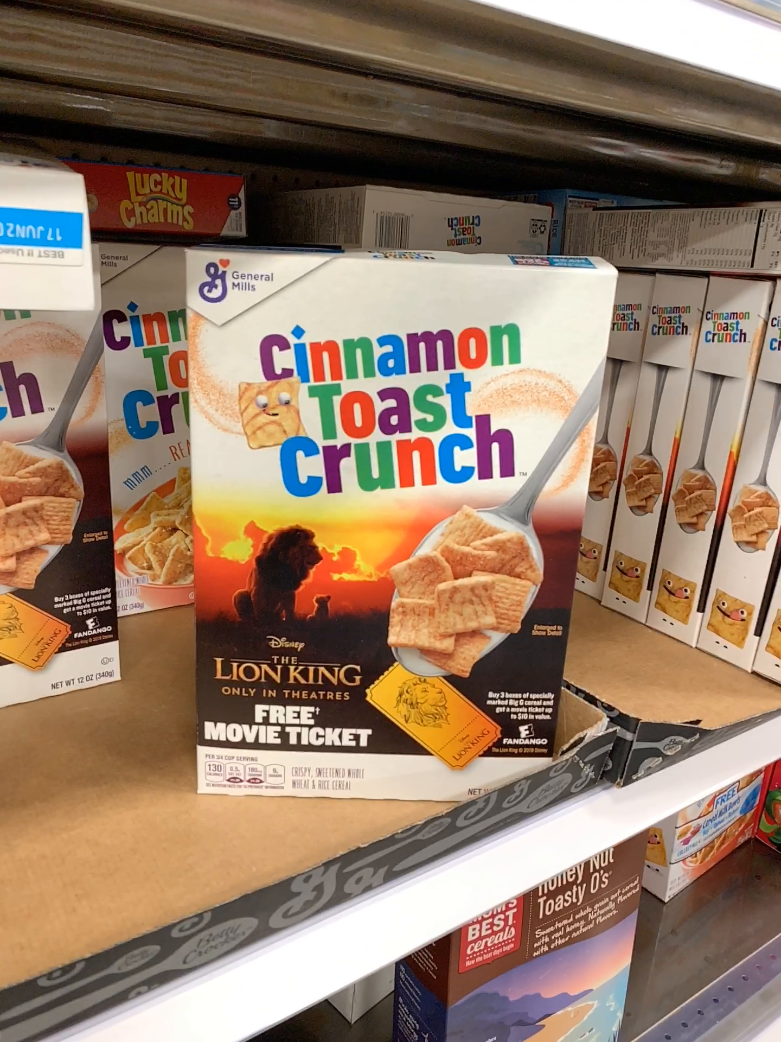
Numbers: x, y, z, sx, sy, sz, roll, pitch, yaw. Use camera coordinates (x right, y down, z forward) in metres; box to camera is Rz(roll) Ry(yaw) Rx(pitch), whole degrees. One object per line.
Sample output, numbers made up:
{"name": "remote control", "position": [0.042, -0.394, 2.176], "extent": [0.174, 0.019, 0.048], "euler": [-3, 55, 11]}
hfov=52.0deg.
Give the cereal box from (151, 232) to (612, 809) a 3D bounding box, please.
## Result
{"name": "cereal box", "position": [-0.010, 0.007, 0.403], "extent": [0.190, 0.279, 0.060], "euler": [2, 19, -3]}
